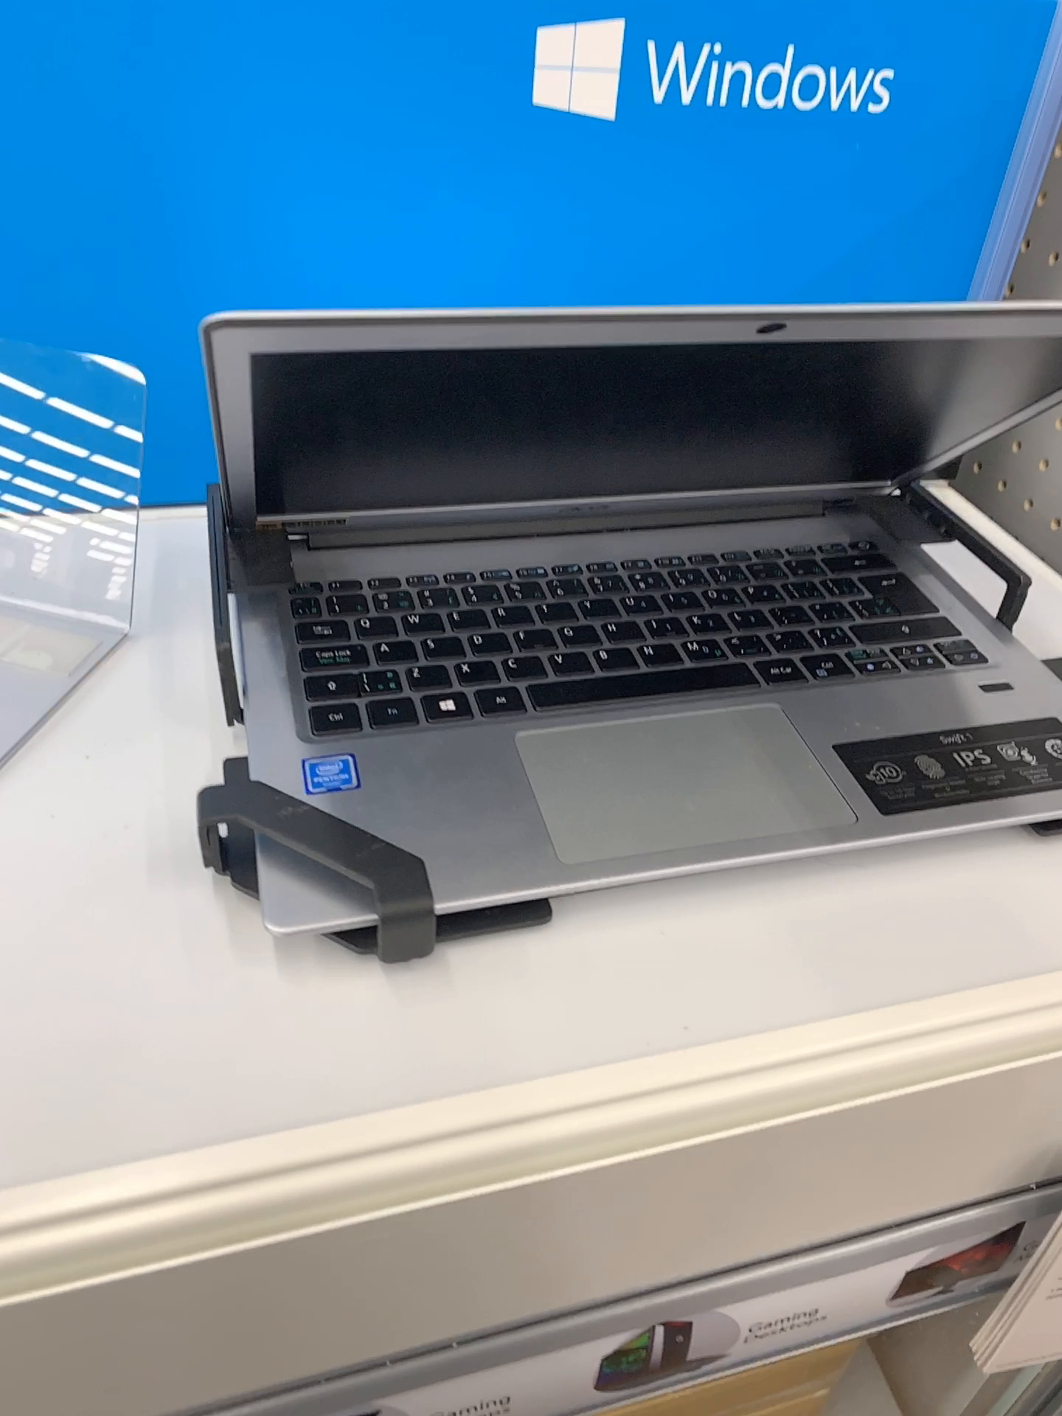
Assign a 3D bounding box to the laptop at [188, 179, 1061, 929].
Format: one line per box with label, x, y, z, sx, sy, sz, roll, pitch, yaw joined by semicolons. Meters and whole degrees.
laptop;0.054;-0.072;0.374;0.307;0.140;0.198;-6;41;-14
